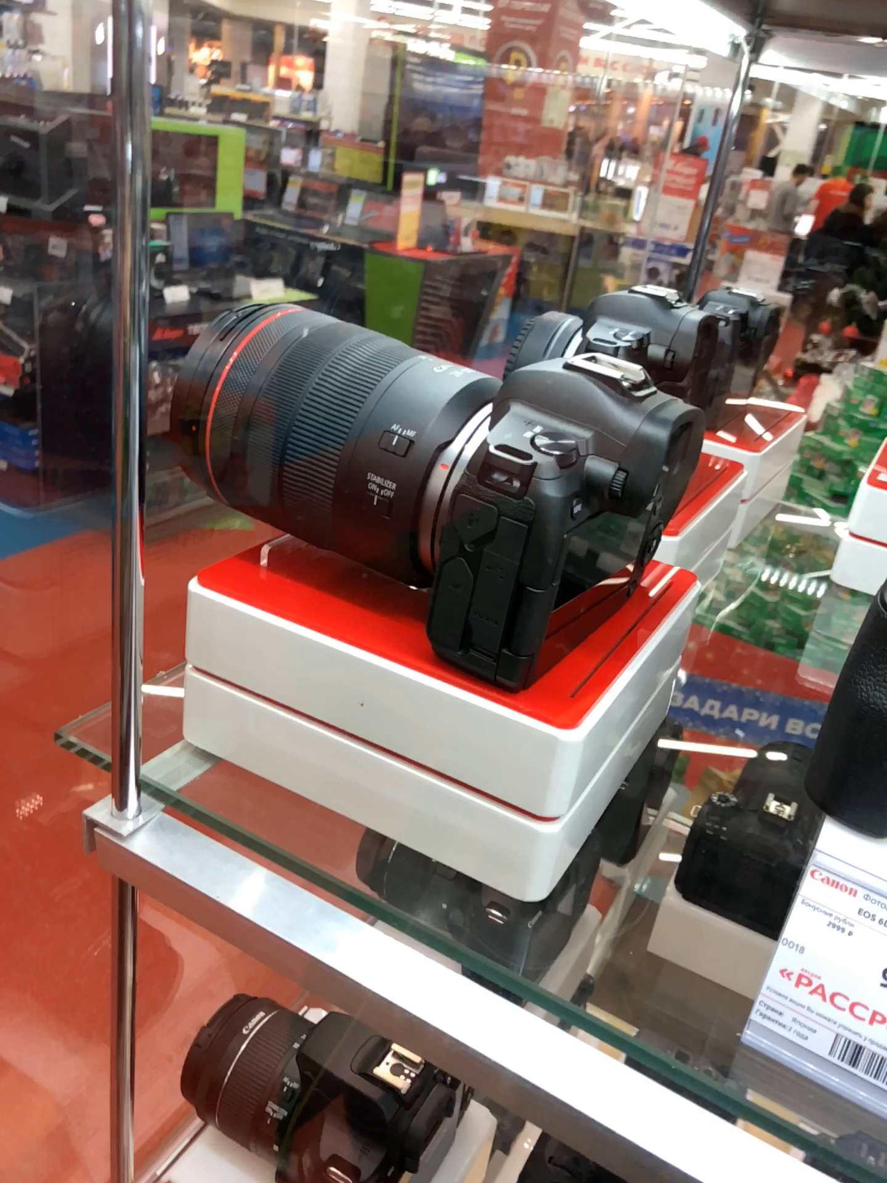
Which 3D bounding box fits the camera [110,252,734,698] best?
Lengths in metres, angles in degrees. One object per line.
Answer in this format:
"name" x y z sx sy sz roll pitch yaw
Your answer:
"camera" -0.007 -0.061 0.376 0.180 0.093 0.145 21 28 22
